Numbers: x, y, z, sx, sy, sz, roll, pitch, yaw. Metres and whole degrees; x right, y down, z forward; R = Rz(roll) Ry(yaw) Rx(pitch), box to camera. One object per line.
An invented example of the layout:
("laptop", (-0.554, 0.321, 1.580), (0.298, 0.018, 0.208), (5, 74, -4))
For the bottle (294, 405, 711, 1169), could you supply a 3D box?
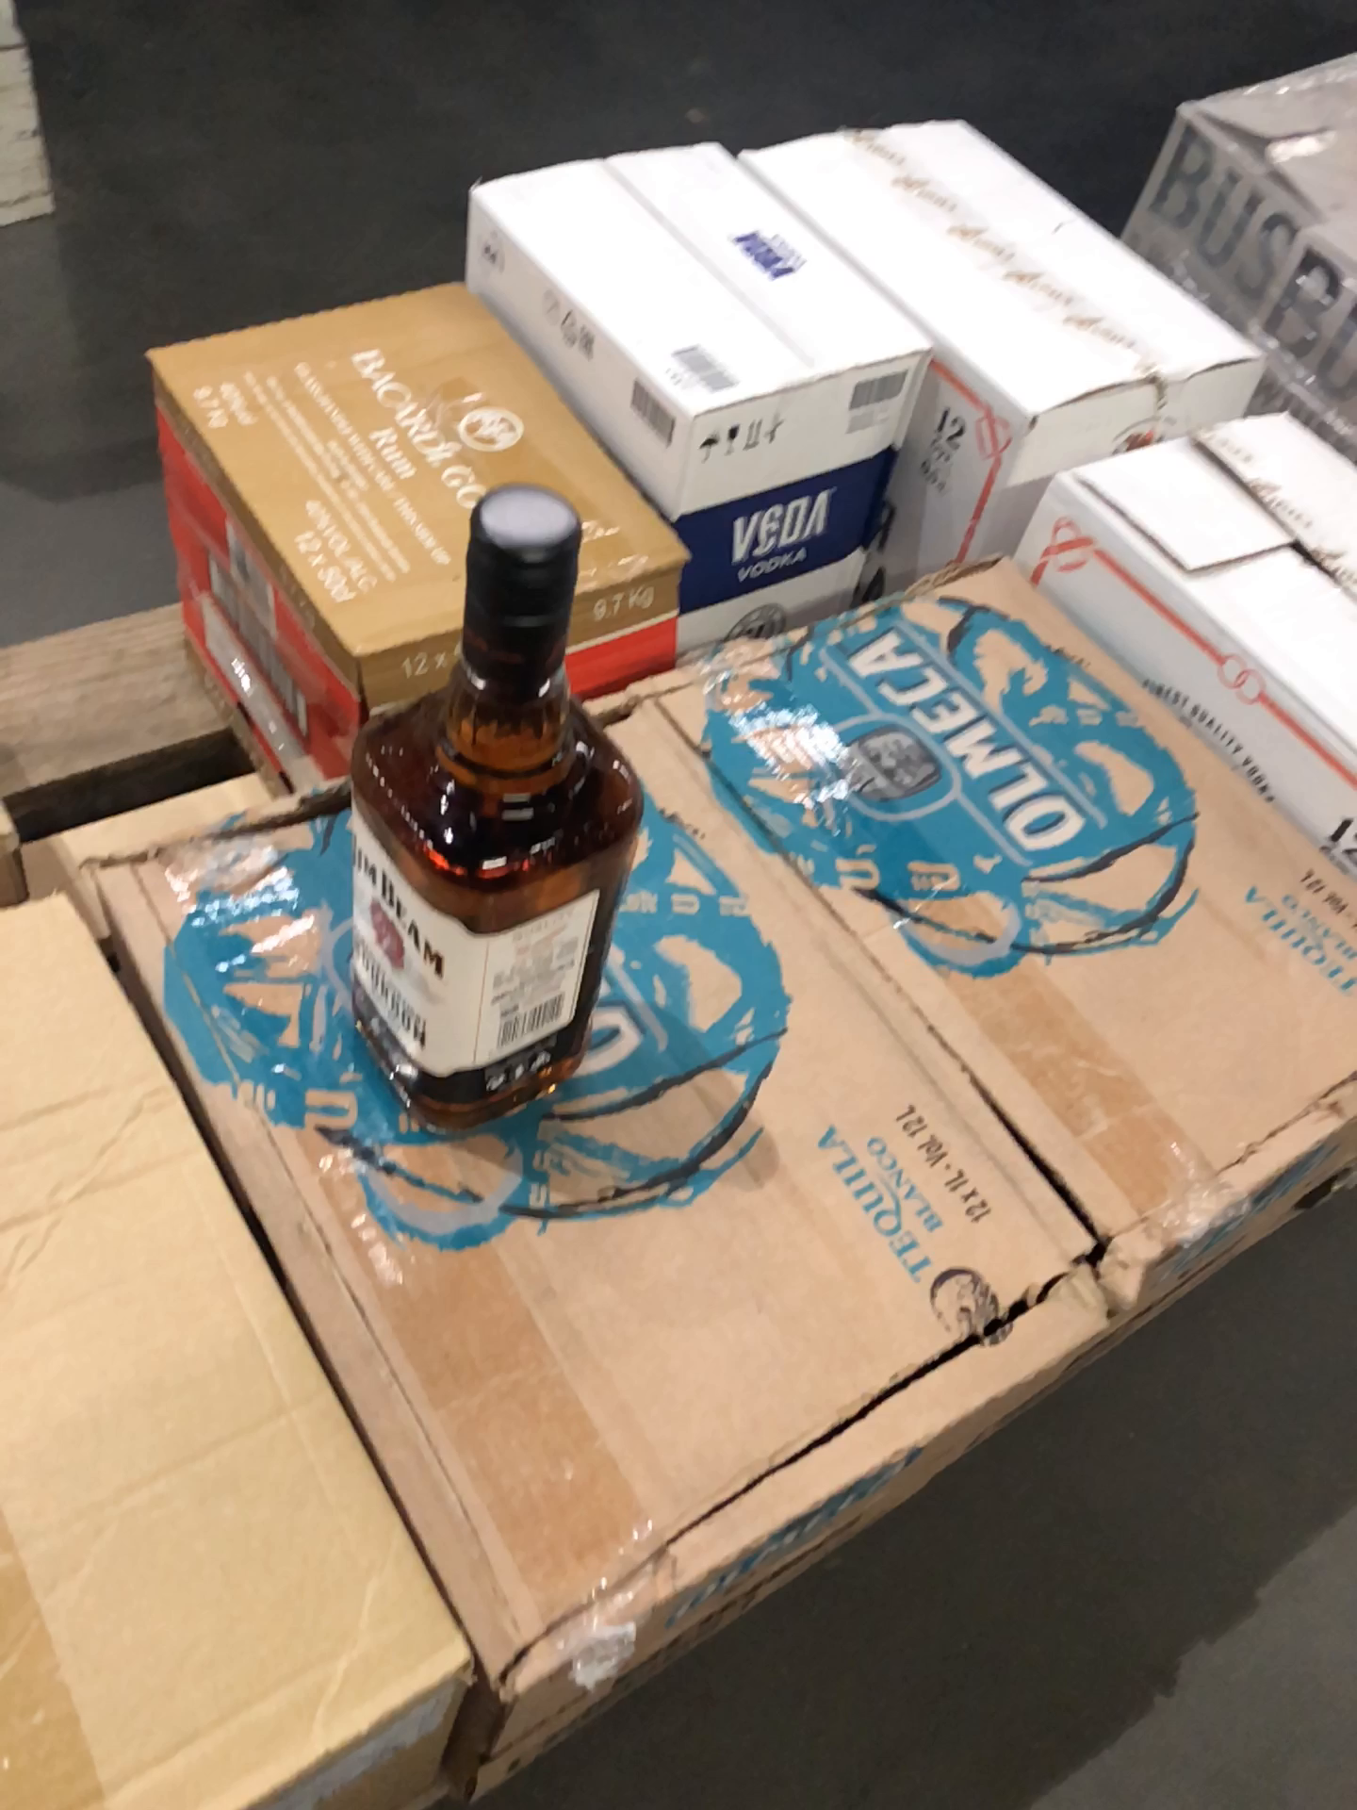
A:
("bottle", (-0.070, -0.024, 0.515), (0.081, 0.263, 0.091), (-24, 60, -27))
